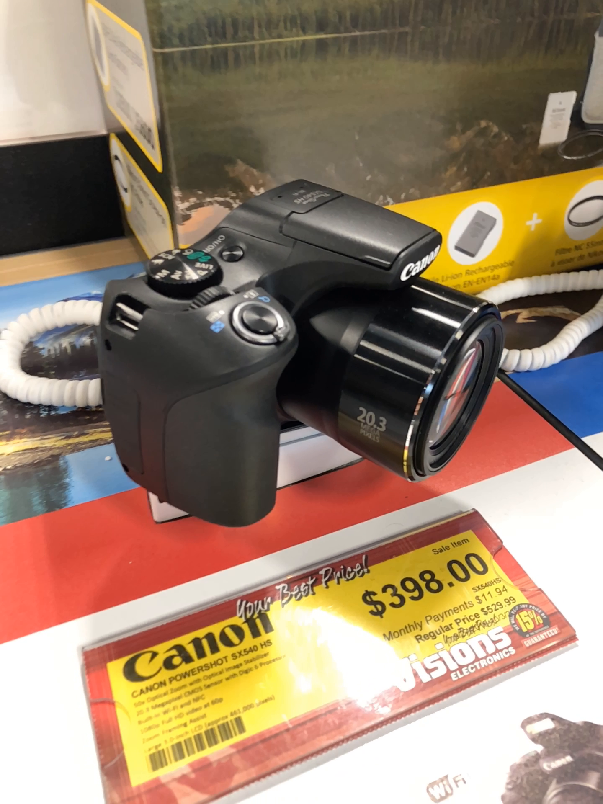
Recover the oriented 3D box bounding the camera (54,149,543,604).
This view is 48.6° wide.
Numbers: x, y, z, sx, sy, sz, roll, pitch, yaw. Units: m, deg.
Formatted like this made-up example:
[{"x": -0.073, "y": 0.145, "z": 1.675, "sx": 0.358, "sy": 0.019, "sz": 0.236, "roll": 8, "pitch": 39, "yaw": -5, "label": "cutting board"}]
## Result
[{"x": 0.004, "y": -0.021, "z": 0.223, "sx": 0.090, "sy": 0.079, "sz": 0.120, "roll": 26, "pitch": 45, "yaw": 31, "label": "camera"}]
